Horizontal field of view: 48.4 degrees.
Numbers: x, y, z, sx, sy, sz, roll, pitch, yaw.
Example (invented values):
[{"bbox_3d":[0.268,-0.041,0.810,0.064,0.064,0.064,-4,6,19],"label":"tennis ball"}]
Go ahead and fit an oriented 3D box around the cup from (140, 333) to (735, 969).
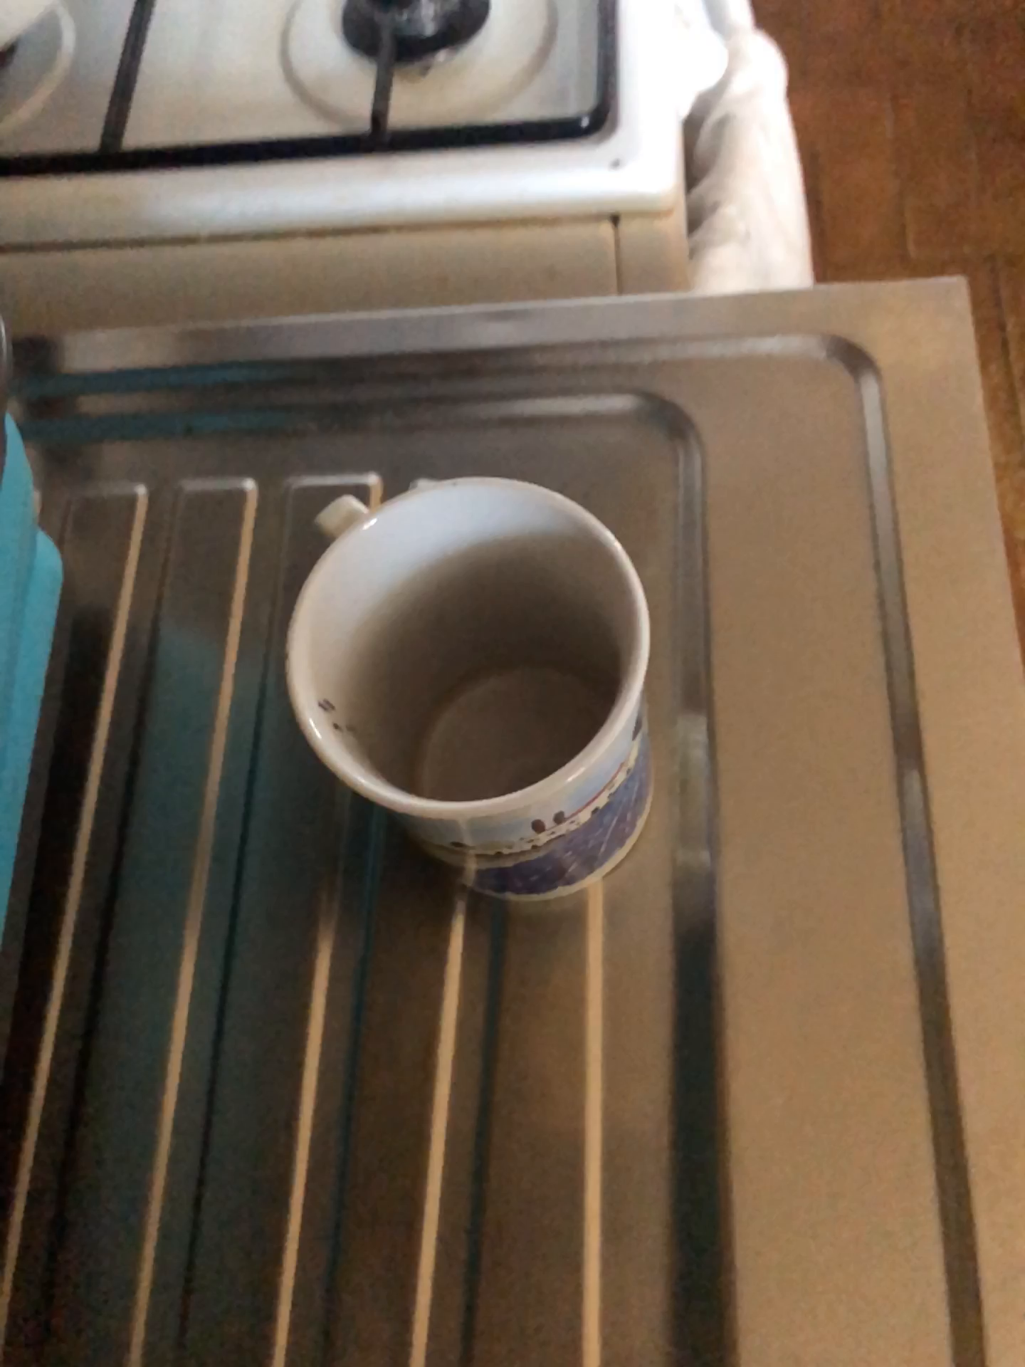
[{"bbox_3d":[-0.013,-0.003,0.281,0.070,0.100,0.110,-42,68,-11],"label":"cup"}]
